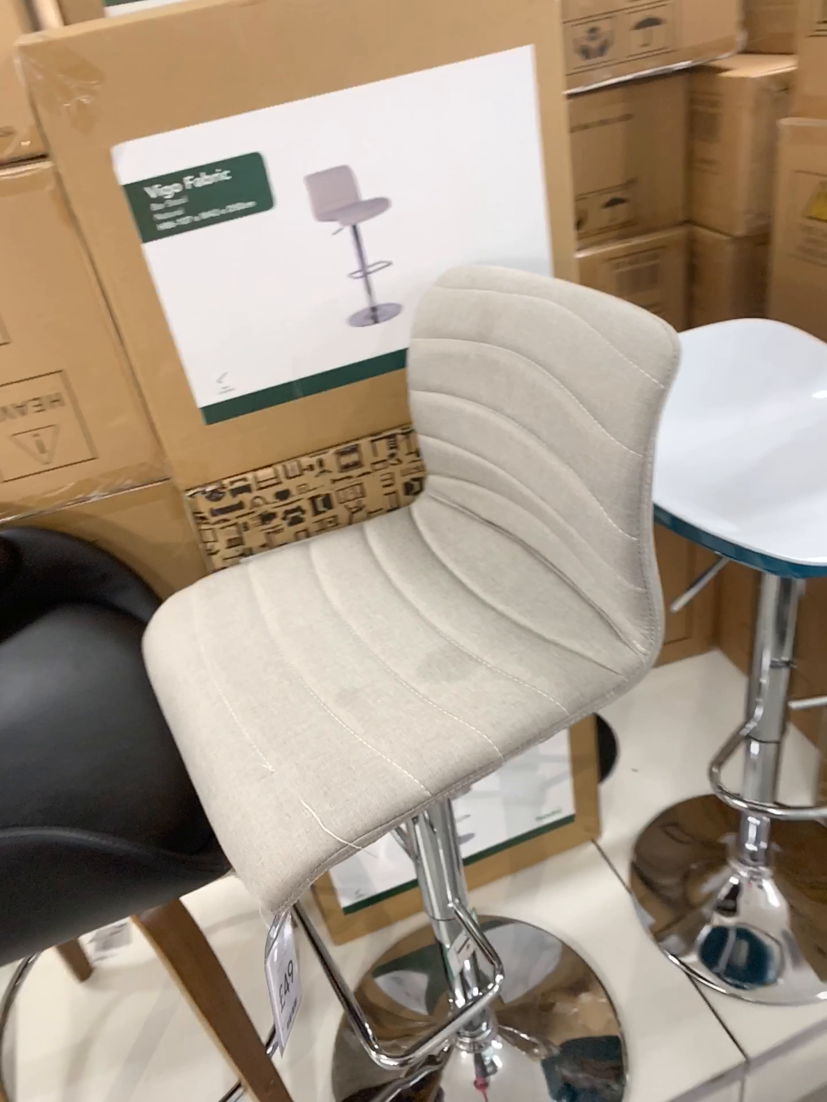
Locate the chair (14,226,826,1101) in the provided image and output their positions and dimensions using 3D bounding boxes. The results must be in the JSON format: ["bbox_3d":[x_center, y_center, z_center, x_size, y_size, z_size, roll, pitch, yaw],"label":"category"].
[{"bbox_3d":[0.037,0.254,0.914,0.508,0.984,0.468,-21,34,-16],"label":"chair"}]

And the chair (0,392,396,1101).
[{"bbox_3d":[-0.398,0.362,1.032,0.488,0.865,0.539,-17,33,-11],"label":"chair"}]

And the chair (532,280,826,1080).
[{"bbox_3d":[0.451,0.165,1.060,0.404,0.825,0.391,-20,34,-16],"label":"chair"}]
